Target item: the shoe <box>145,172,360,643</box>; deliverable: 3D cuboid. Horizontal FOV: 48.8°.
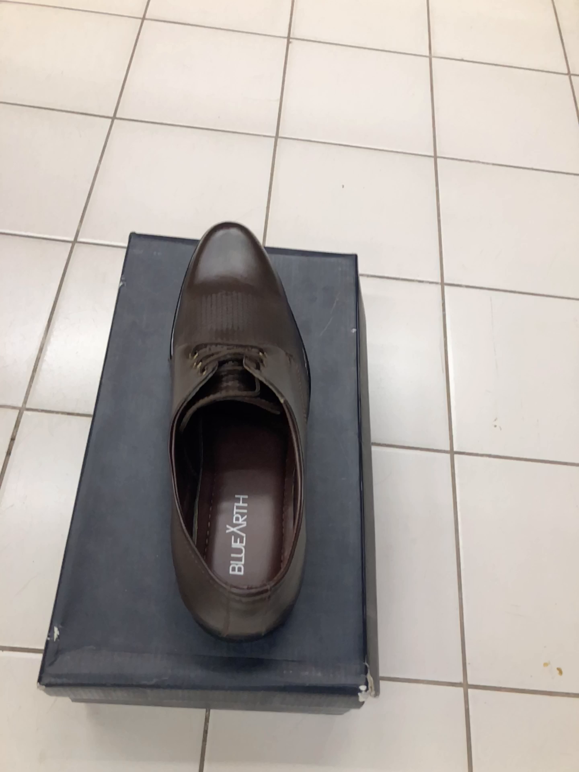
[{"bbox_3d":[-0.033,0.005,0.424,0.104,0.109,0.291,-1,62,-7],"label":"shoe"}]
